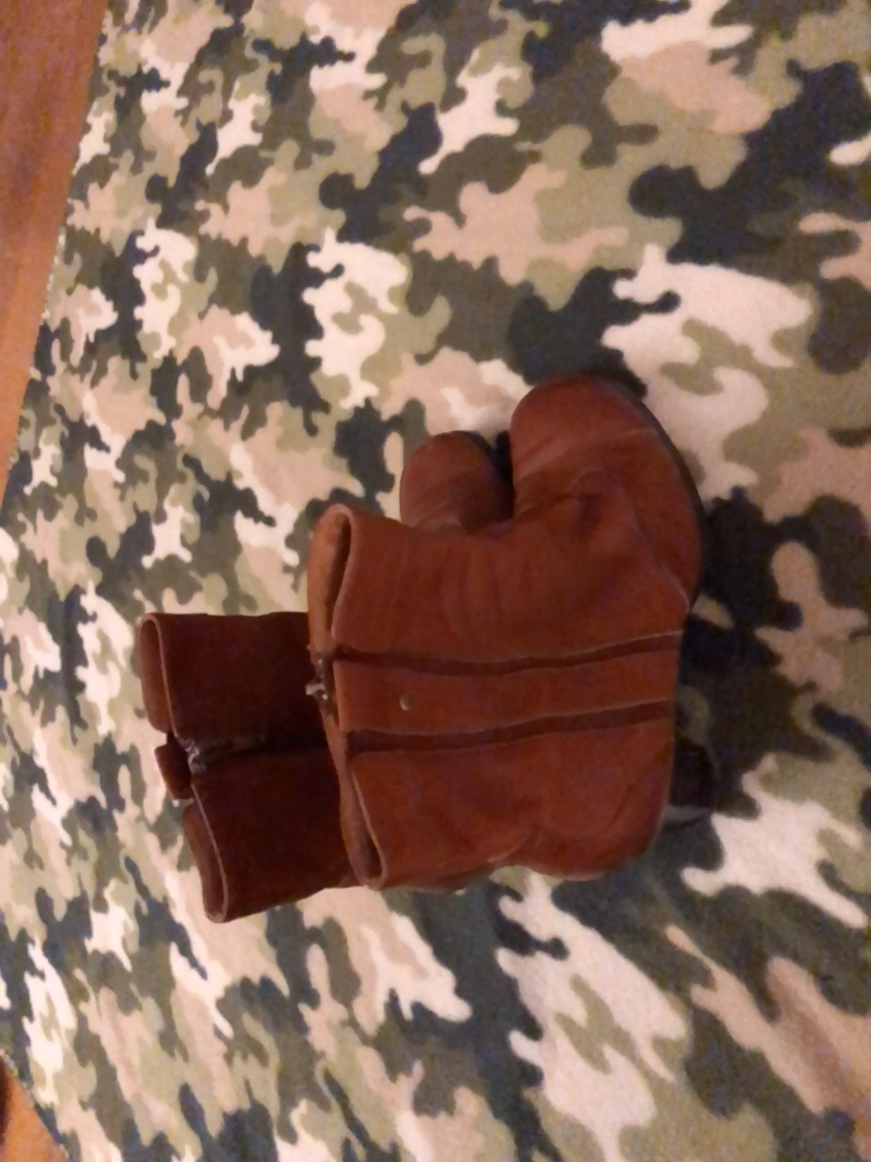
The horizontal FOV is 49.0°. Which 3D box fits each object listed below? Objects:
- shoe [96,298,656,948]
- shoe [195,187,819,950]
[{"bbox_3d":[-0.026,0.021,0.415,0.090,0.189,0.220,-31,63,39],"label":"shoe"},{"bbox_3d":[0.028,0.003,0.363,0.090,0.189,0.220,-28,66,40],"label":"shoe"}]
